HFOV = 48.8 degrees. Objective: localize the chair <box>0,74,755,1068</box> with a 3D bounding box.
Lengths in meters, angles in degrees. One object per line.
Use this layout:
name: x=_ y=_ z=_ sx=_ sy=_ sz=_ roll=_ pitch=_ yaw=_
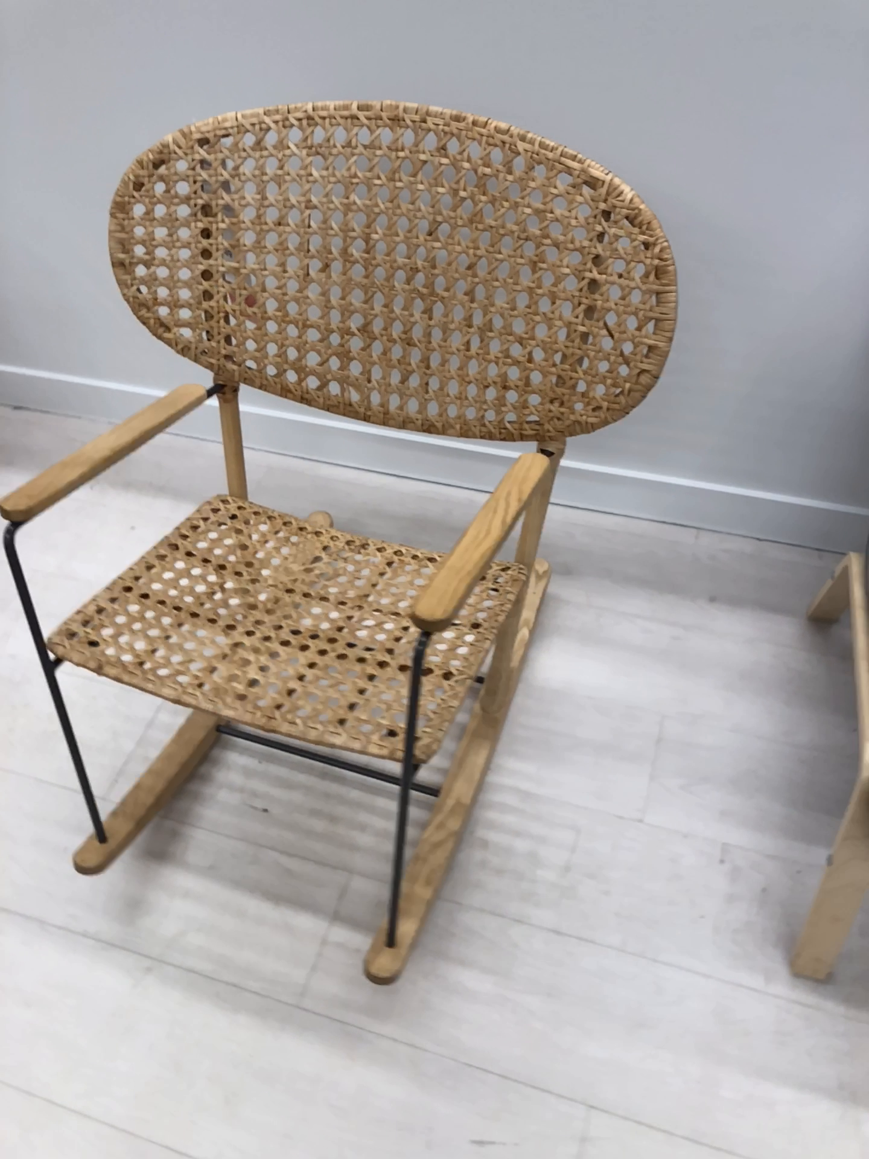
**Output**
chair: x=-0.142 y=-0.055 z=1.276 sx=0.830 sy=0.787 sz=0.852 roll=14 pitch=51 yaw=16
